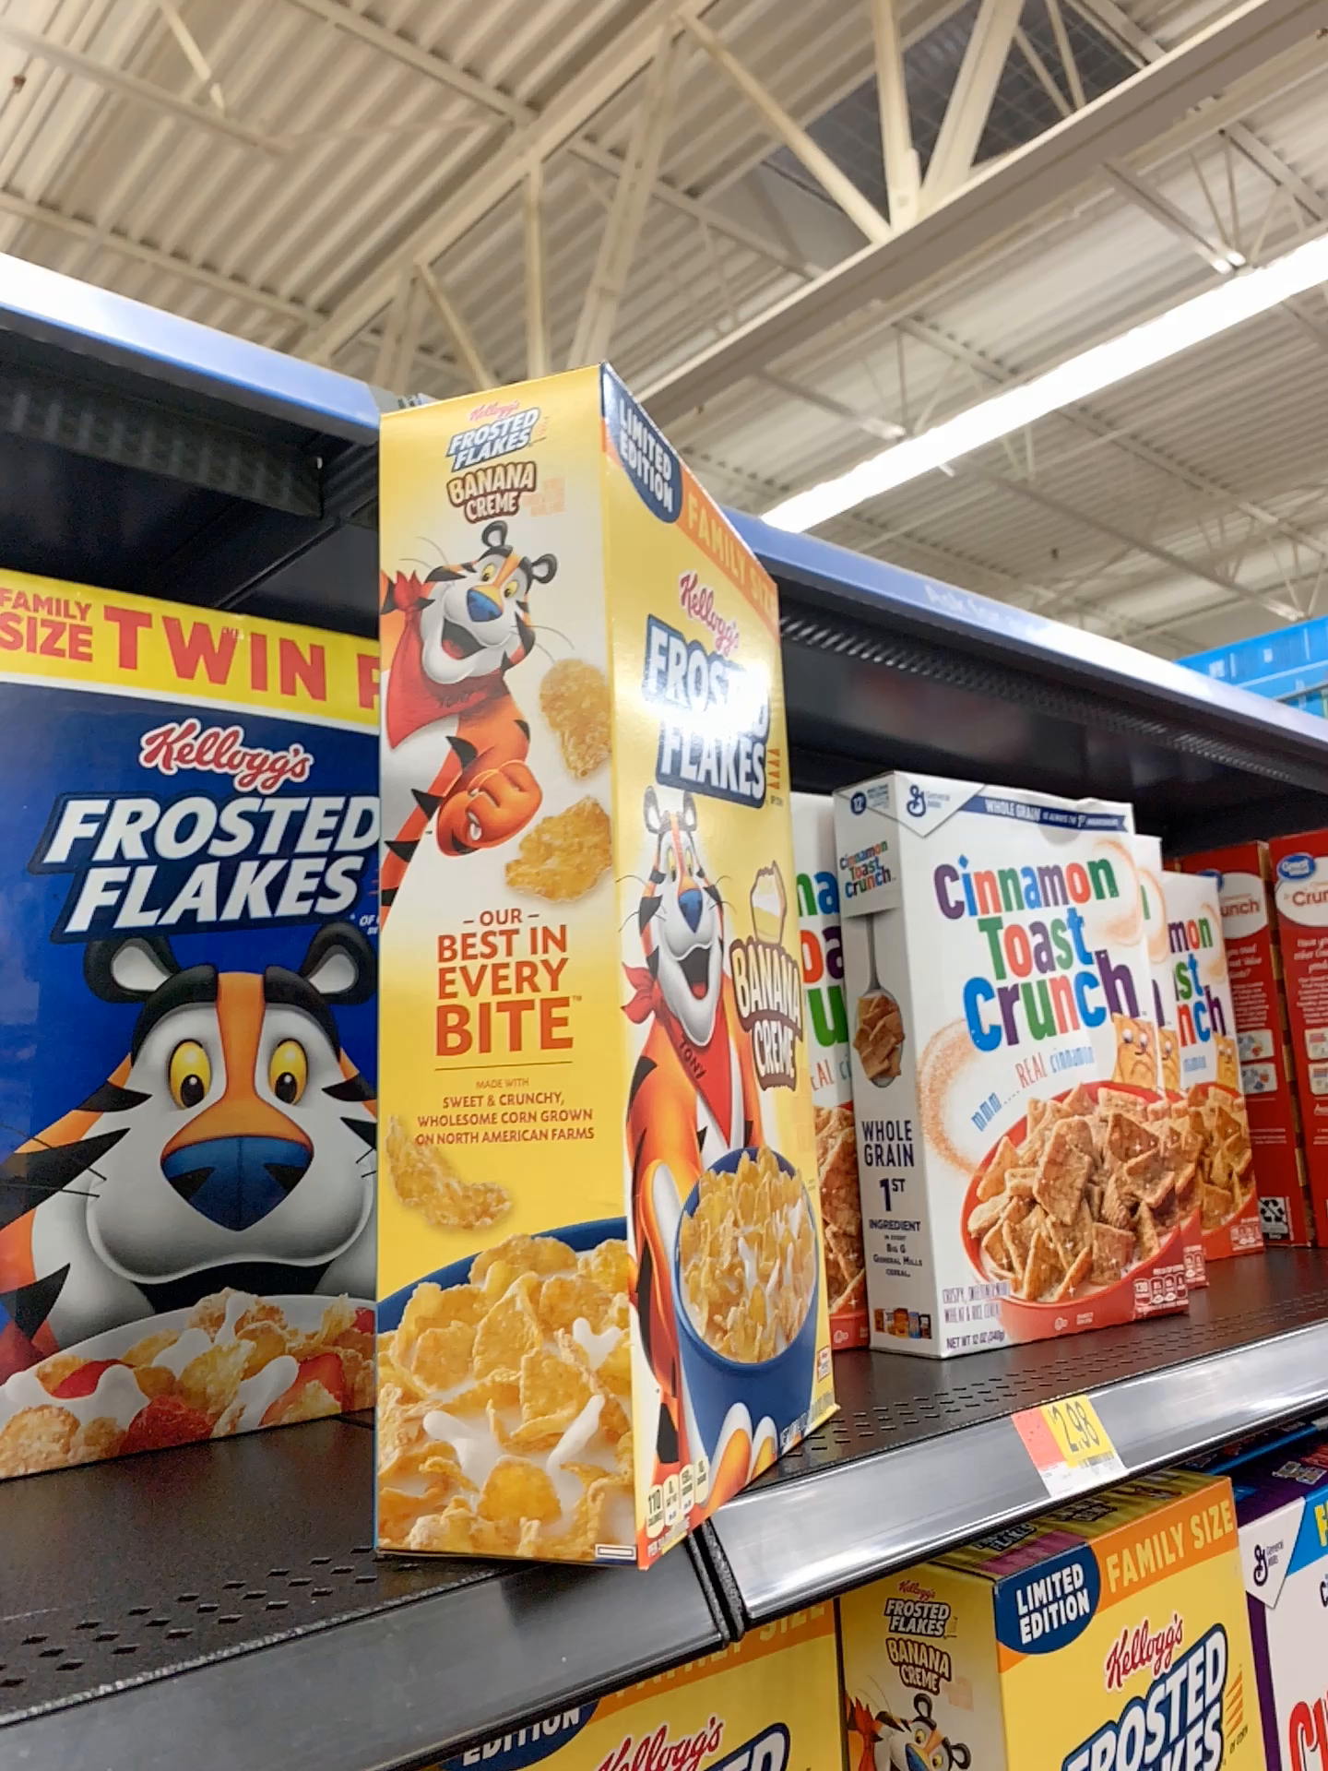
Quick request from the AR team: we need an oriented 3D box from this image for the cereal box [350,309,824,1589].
[{"bbox_3d":[-0.017,0.021,0.467,0.080,0.341,0.199,-6,-11,19],"label":"cereal box"}]
